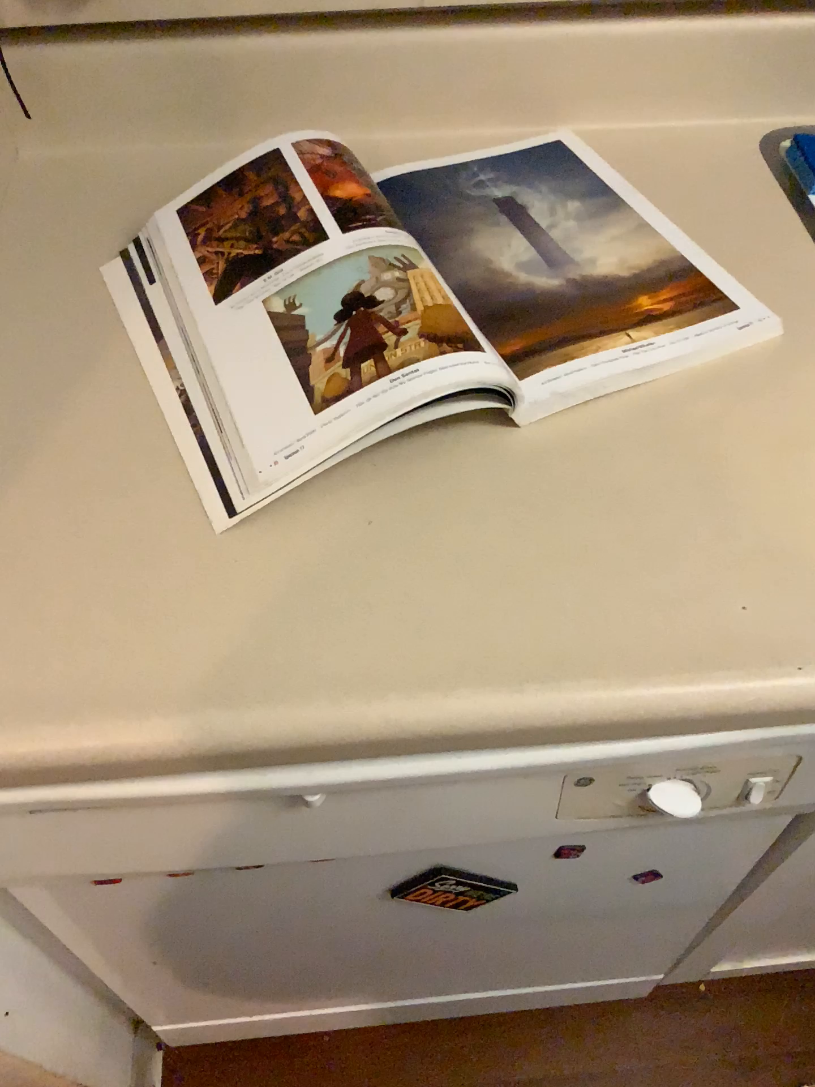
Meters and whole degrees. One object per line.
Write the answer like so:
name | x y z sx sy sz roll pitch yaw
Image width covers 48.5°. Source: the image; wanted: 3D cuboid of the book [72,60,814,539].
book | 0.019 -0.214 0.677 0.450 0.070 0.320 -20 55 -15
